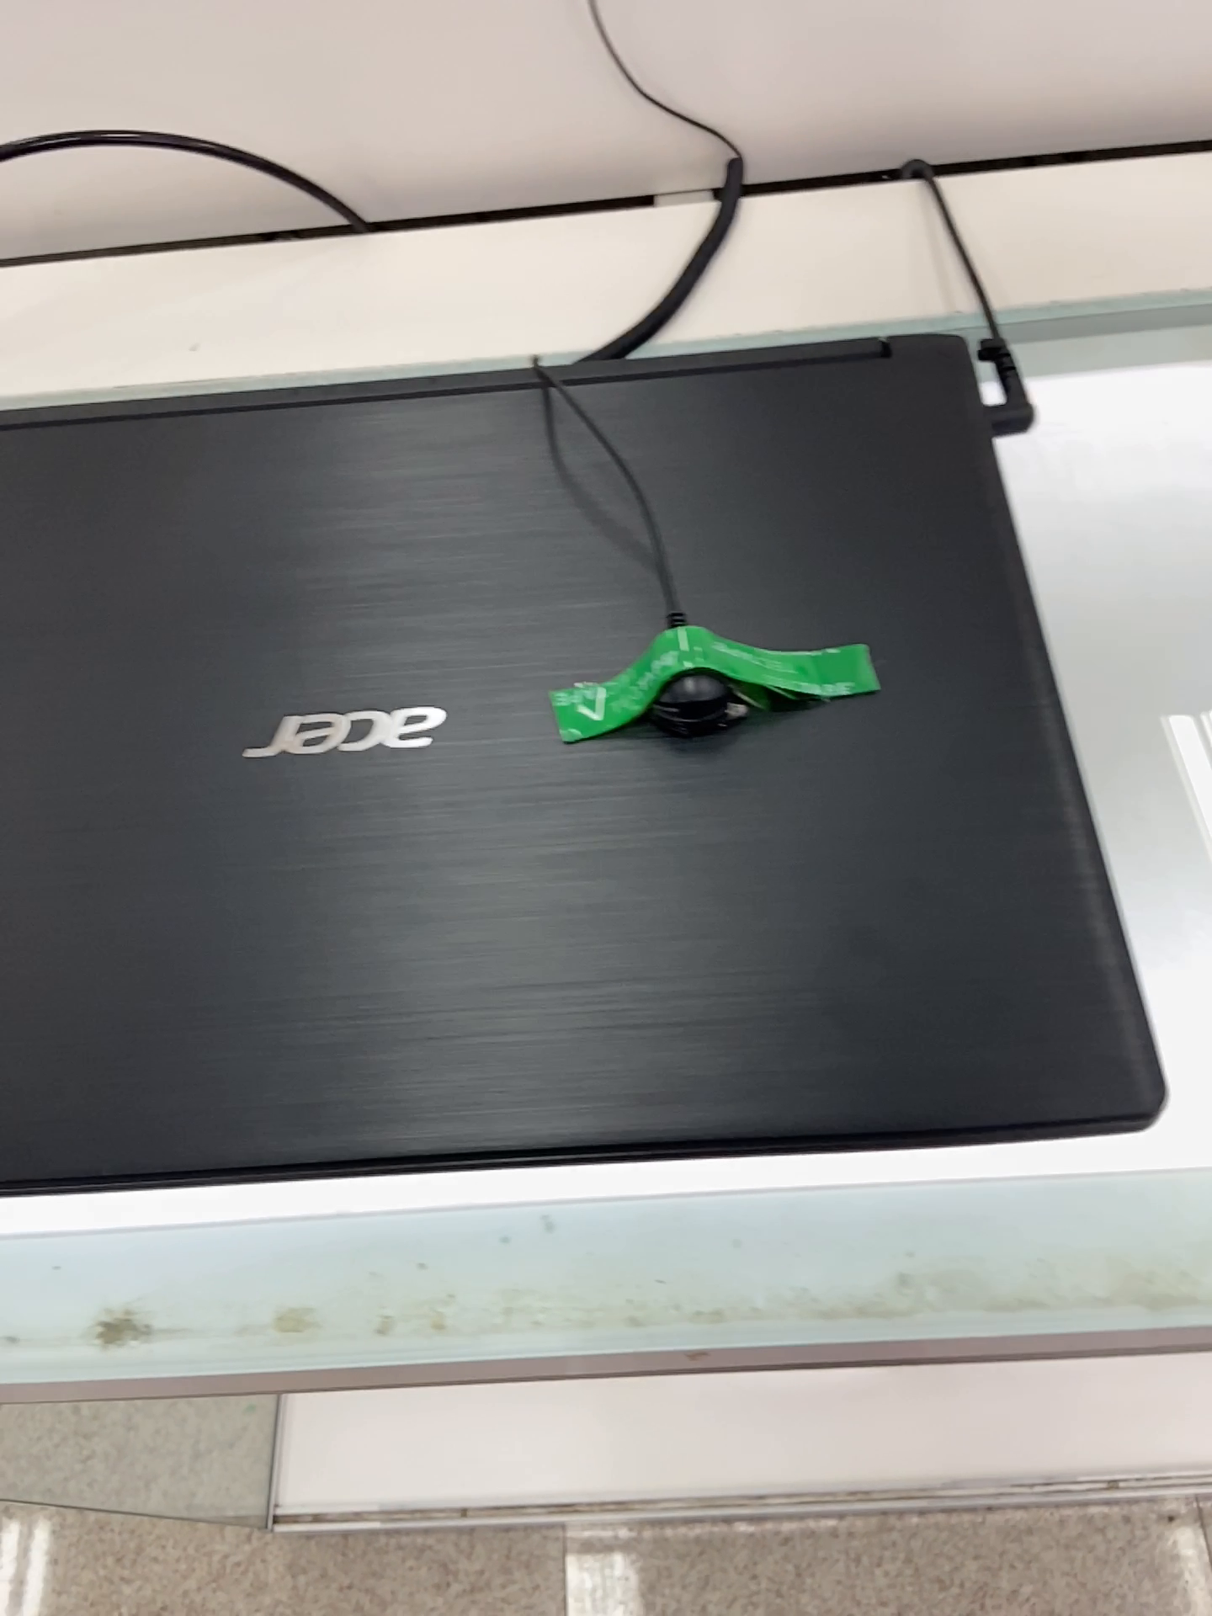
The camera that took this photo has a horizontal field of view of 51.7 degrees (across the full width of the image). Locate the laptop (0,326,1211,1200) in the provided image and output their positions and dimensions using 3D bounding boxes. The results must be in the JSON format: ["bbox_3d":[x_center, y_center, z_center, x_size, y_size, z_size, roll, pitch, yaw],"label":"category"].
[{"bbox_3d":[-0.063,-0.031,0.342,0.386,0.001,0.248,-4,59,3],"label":"laptop"}]
